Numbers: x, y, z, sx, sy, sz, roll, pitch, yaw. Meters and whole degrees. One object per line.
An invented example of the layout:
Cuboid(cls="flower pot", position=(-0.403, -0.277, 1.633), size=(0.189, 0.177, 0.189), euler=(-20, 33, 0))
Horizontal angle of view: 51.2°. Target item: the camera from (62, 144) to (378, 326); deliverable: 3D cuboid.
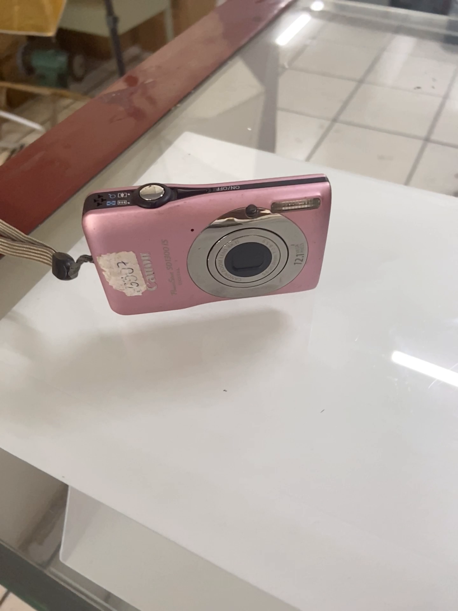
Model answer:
Cuboid(cls="camera", position=(-0.003, -0.026, 0.178), size=(0.100, 0.050, 0.030), euler=(-7, 49, -6))
